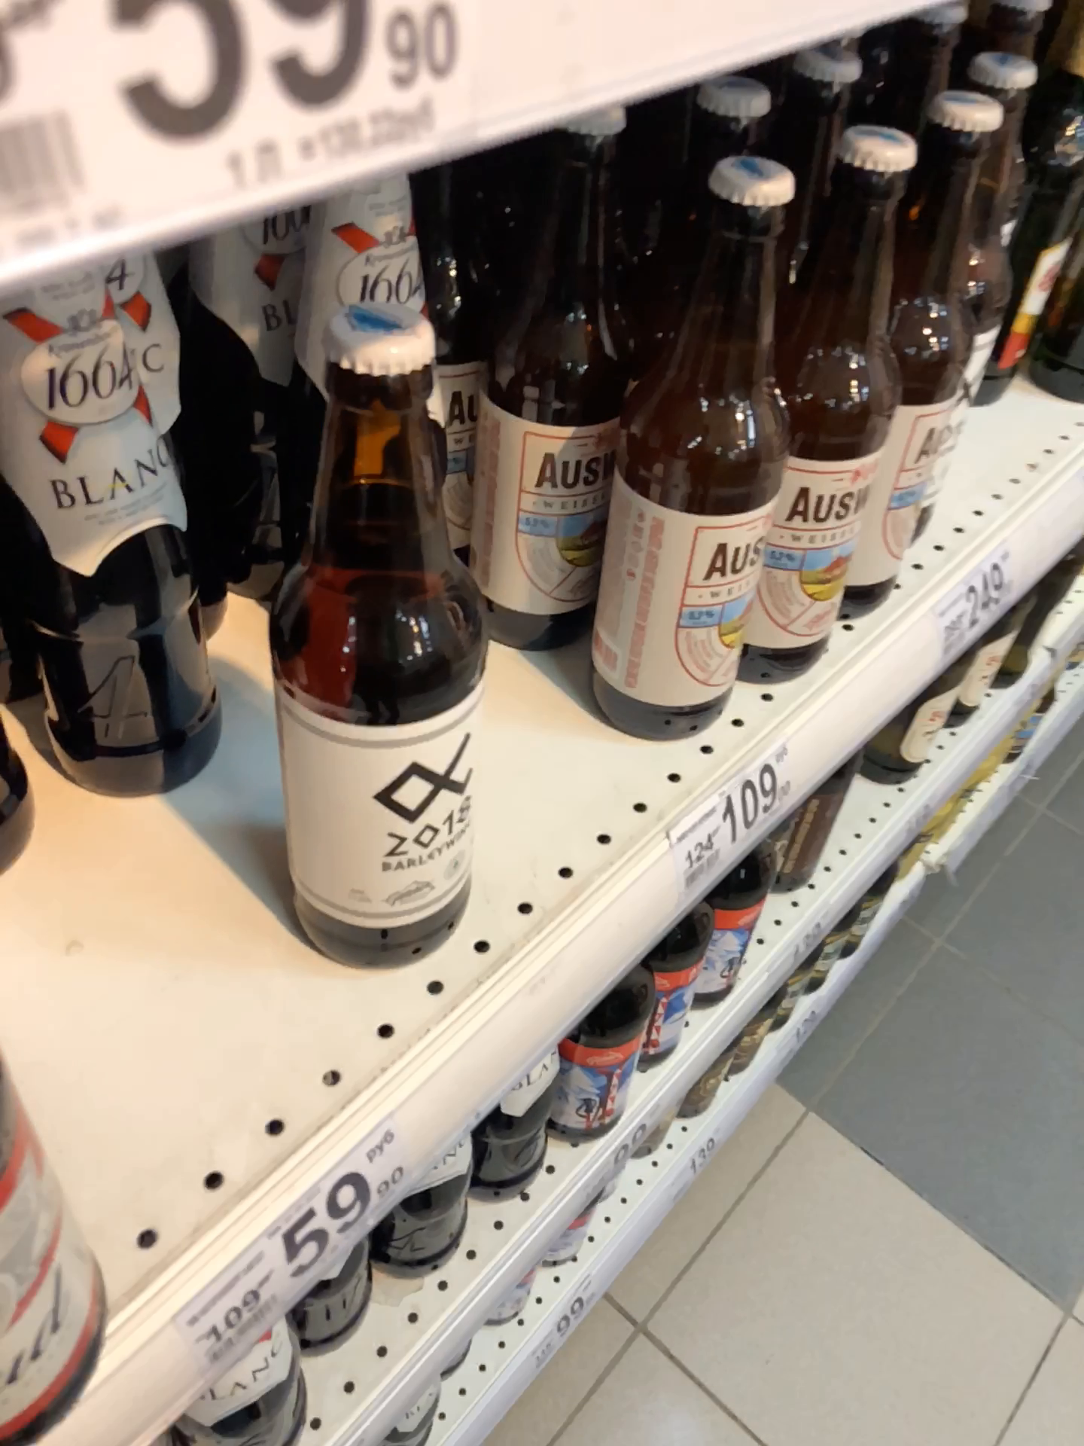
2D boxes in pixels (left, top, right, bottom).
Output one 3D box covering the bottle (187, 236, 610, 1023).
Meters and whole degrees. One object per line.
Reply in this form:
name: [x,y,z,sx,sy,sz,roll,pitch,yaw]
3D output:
bottle: [-0.048,-0.013,0.389,0.080,0.251,0.070,-29,56,-31]
